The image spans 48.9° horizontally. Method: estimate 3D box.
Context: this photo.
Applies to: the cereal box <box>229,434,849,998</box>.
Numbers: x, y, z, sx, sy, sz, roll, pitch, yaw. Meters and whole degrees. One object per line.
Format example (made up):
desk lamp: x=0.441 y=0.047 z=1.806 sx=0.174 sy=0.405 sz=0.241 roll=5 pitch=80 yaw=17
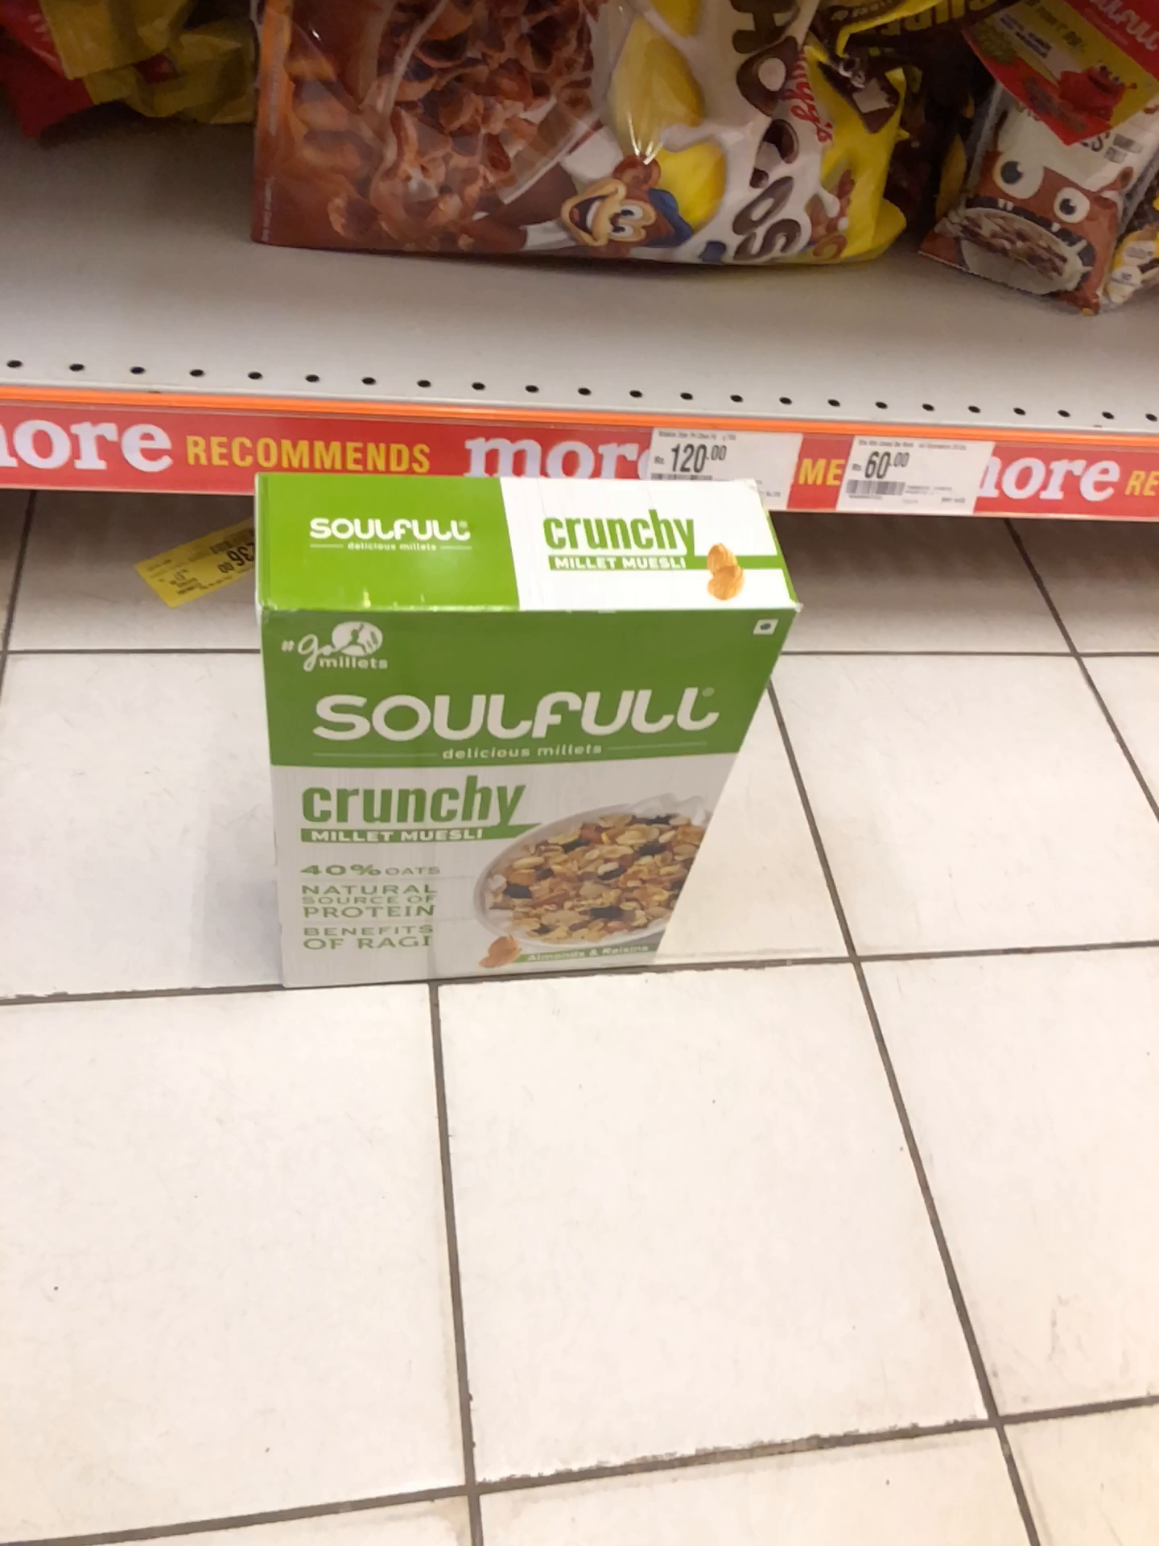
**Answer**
cereal box: x=-0.029 y=-0.006 z=0.475 sx=0.180 sy=0.239 sz=0.060 roll=-1 pitch=52 yaw=-12
